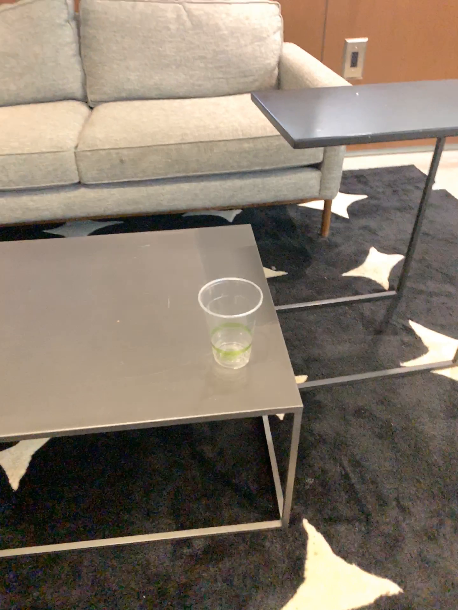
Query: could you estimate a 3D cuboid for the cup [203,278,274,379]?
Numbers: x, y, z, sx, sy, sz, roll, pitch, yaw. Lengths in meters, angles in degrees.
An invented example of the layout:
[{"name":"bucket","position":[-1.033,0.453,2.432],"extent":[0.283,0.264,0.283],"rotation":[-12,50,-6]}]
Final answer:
[{"name":"cup","position":[0.011,0.033,0.676],"extent":[0.090,0.109,0.091],"rotation":[-1,38,1]}]
